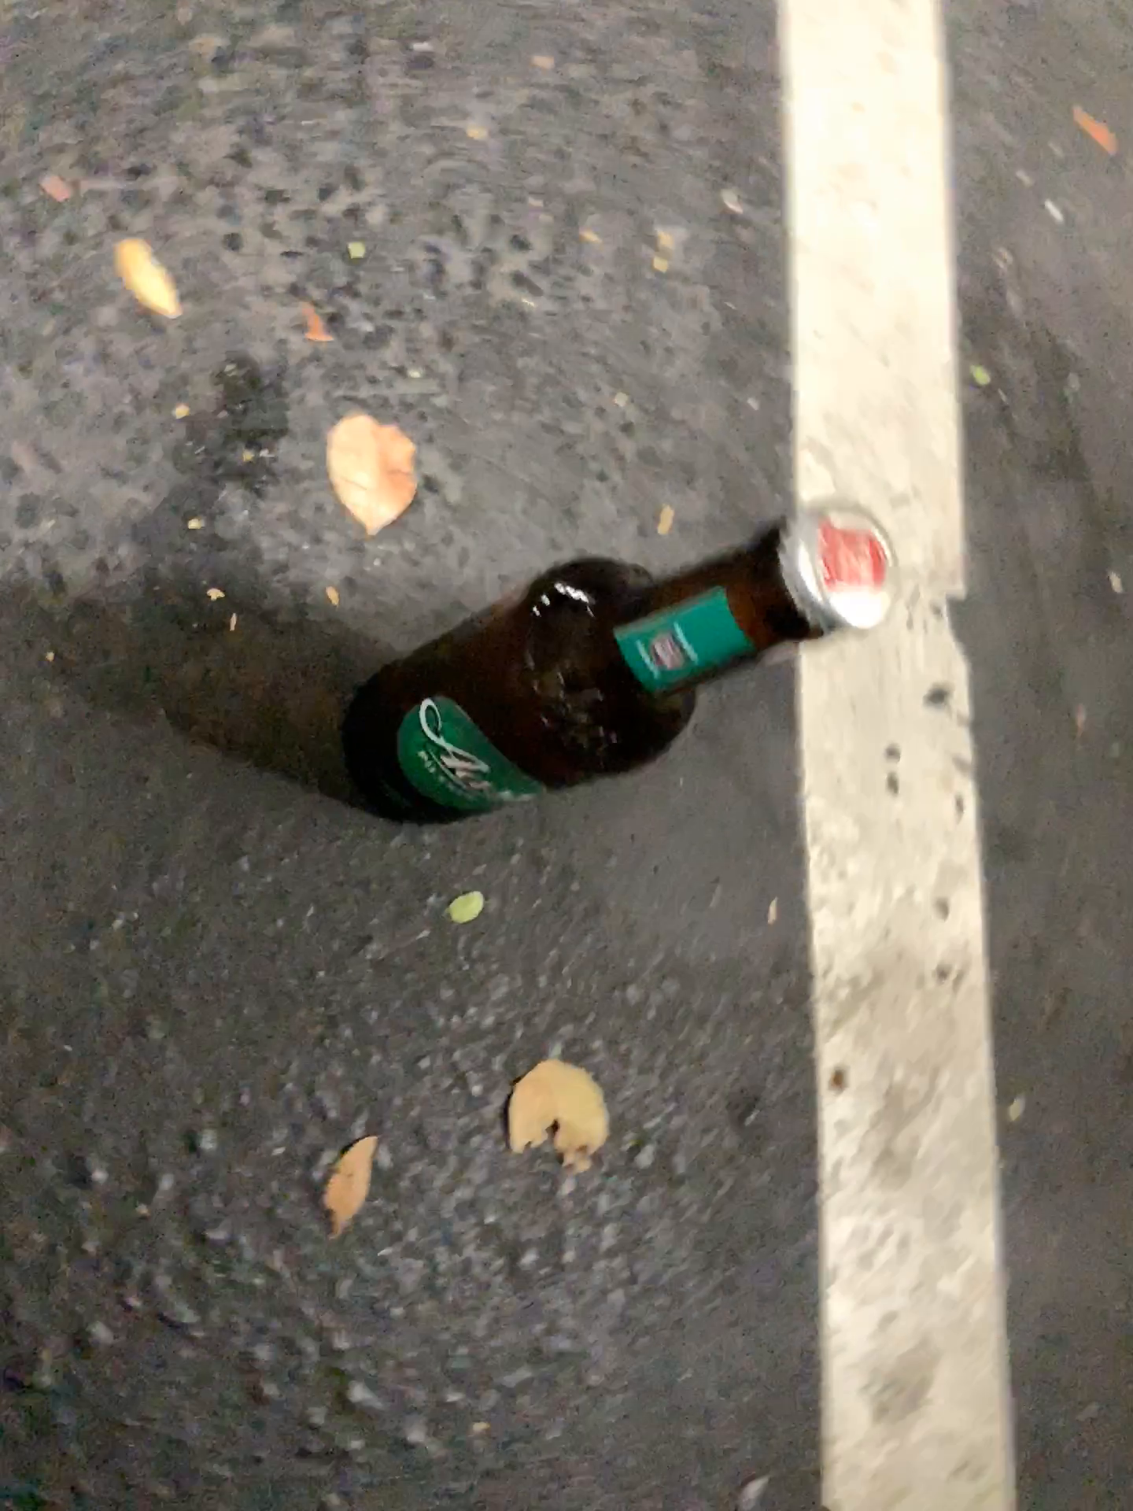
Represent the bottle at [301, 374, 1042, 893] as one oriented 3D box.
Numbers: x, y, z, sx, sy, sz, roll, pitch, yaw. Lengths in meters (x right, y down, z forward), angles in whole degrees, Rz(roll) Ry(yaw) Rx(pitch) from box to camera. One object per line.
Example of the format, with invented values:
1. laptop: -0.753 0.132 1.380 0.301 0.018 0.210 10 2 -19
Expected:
1. bottle: 0.009 -0.015 0.341 0.070 0.210 0.070 5 81 -30
